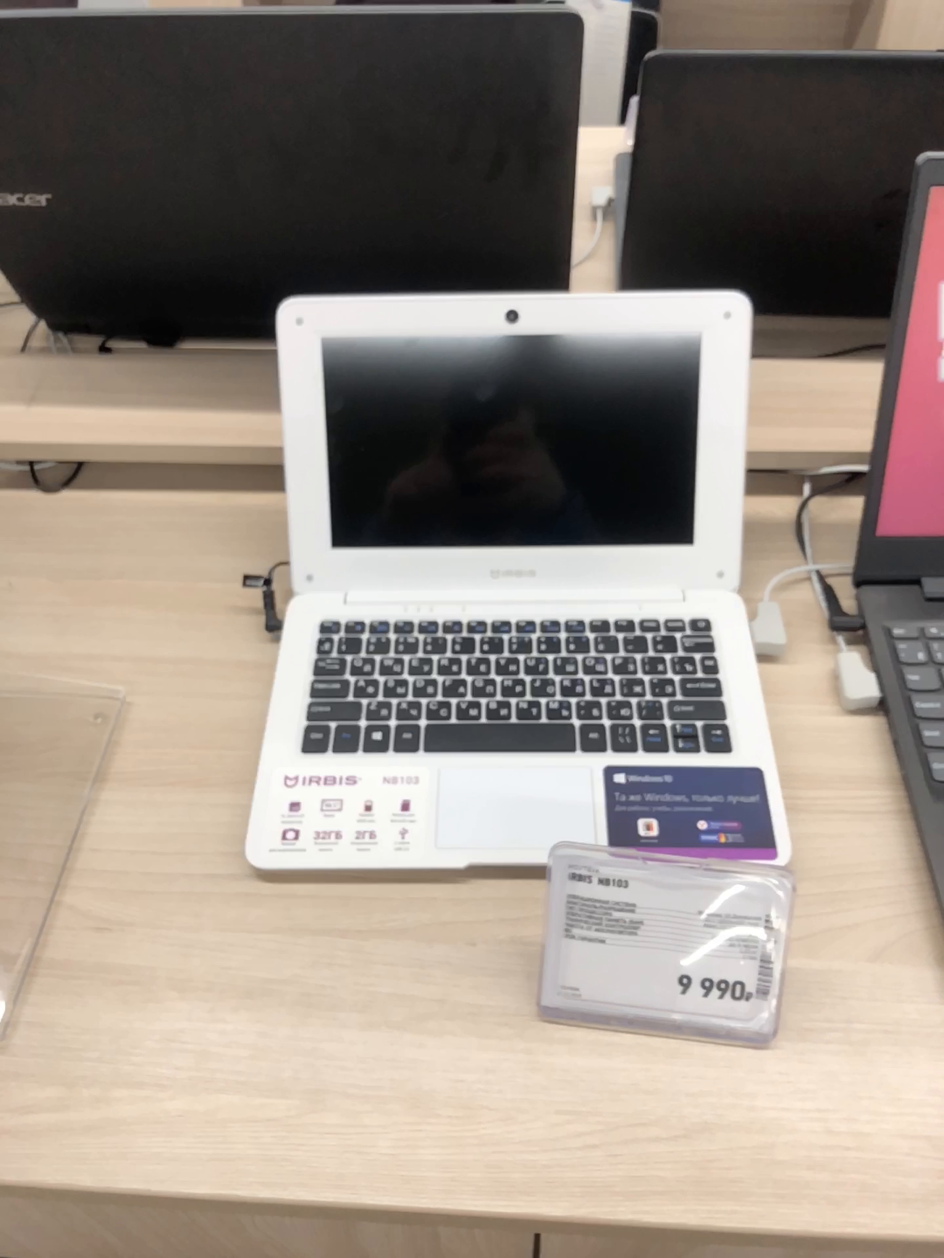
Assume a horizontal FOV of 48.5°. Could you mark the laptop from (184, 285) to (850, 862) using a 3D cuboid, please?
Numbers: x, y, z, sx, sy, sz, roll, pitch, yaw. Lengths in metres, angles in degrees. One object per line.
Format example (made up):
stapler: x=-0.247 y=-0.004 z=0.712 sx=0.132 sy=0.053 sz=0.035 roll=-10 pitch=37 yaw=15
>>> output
laptop: x=0.025 y=-0.045 z=0.620 sx=0.296 sy=0.144 sz=0.319 roll=0 pitch=50 yaw=3
